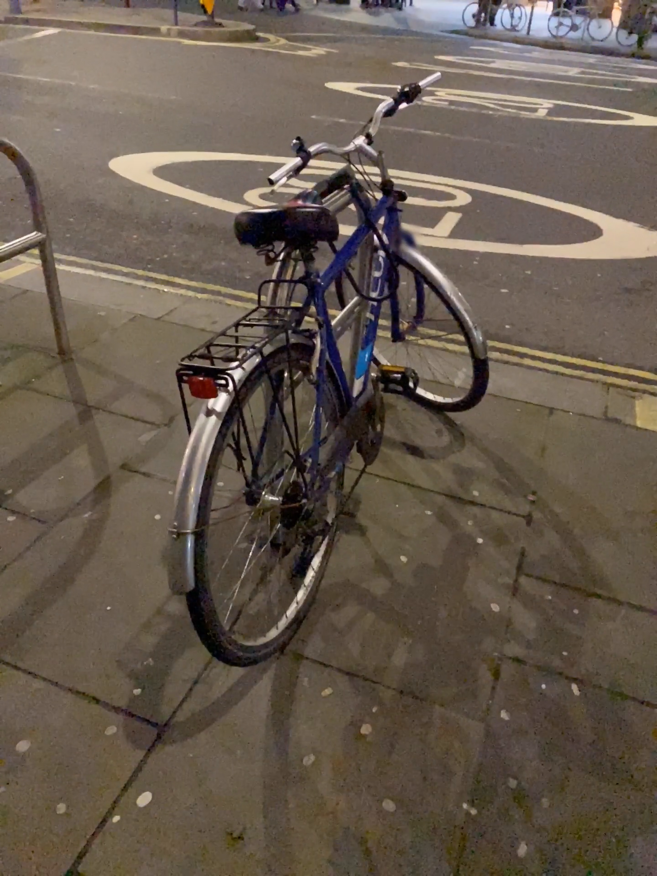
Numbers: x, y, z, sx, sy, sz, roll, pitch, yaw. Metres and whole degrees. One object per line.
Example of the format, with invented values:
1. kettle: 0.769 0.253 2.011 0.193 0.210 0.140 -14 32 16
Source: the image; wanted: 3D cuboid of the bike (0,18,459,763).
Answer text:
1. bike: -0.104 -0.336 1.742 0.655 1.108 1.604 8 37 9
